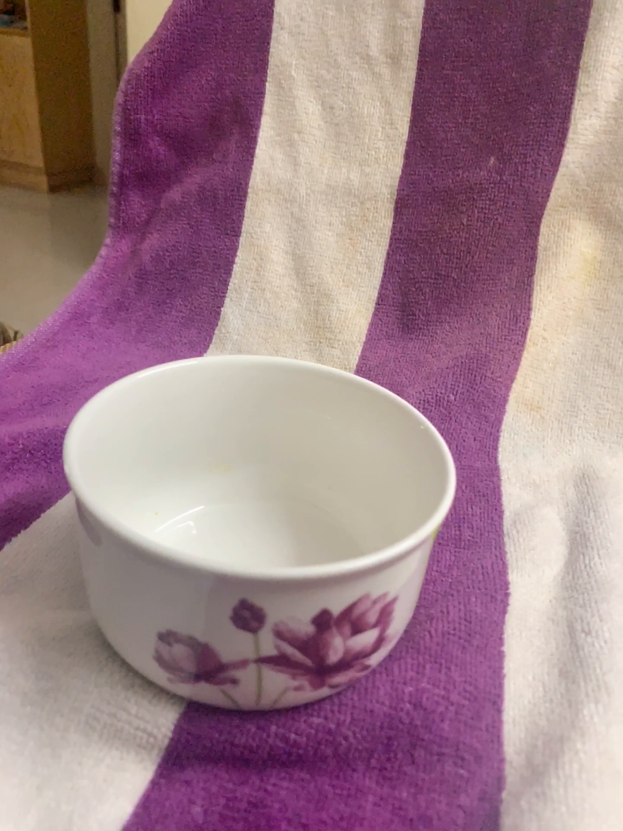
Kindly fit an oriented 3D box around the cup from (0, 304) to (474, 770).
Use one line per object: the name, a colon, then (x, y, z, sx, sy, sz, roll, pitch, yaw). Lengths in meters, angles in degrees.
cup: (-0.017, 0.019, 0.177, 0.110, 0.050, 0.101, 5, 30, -3)
